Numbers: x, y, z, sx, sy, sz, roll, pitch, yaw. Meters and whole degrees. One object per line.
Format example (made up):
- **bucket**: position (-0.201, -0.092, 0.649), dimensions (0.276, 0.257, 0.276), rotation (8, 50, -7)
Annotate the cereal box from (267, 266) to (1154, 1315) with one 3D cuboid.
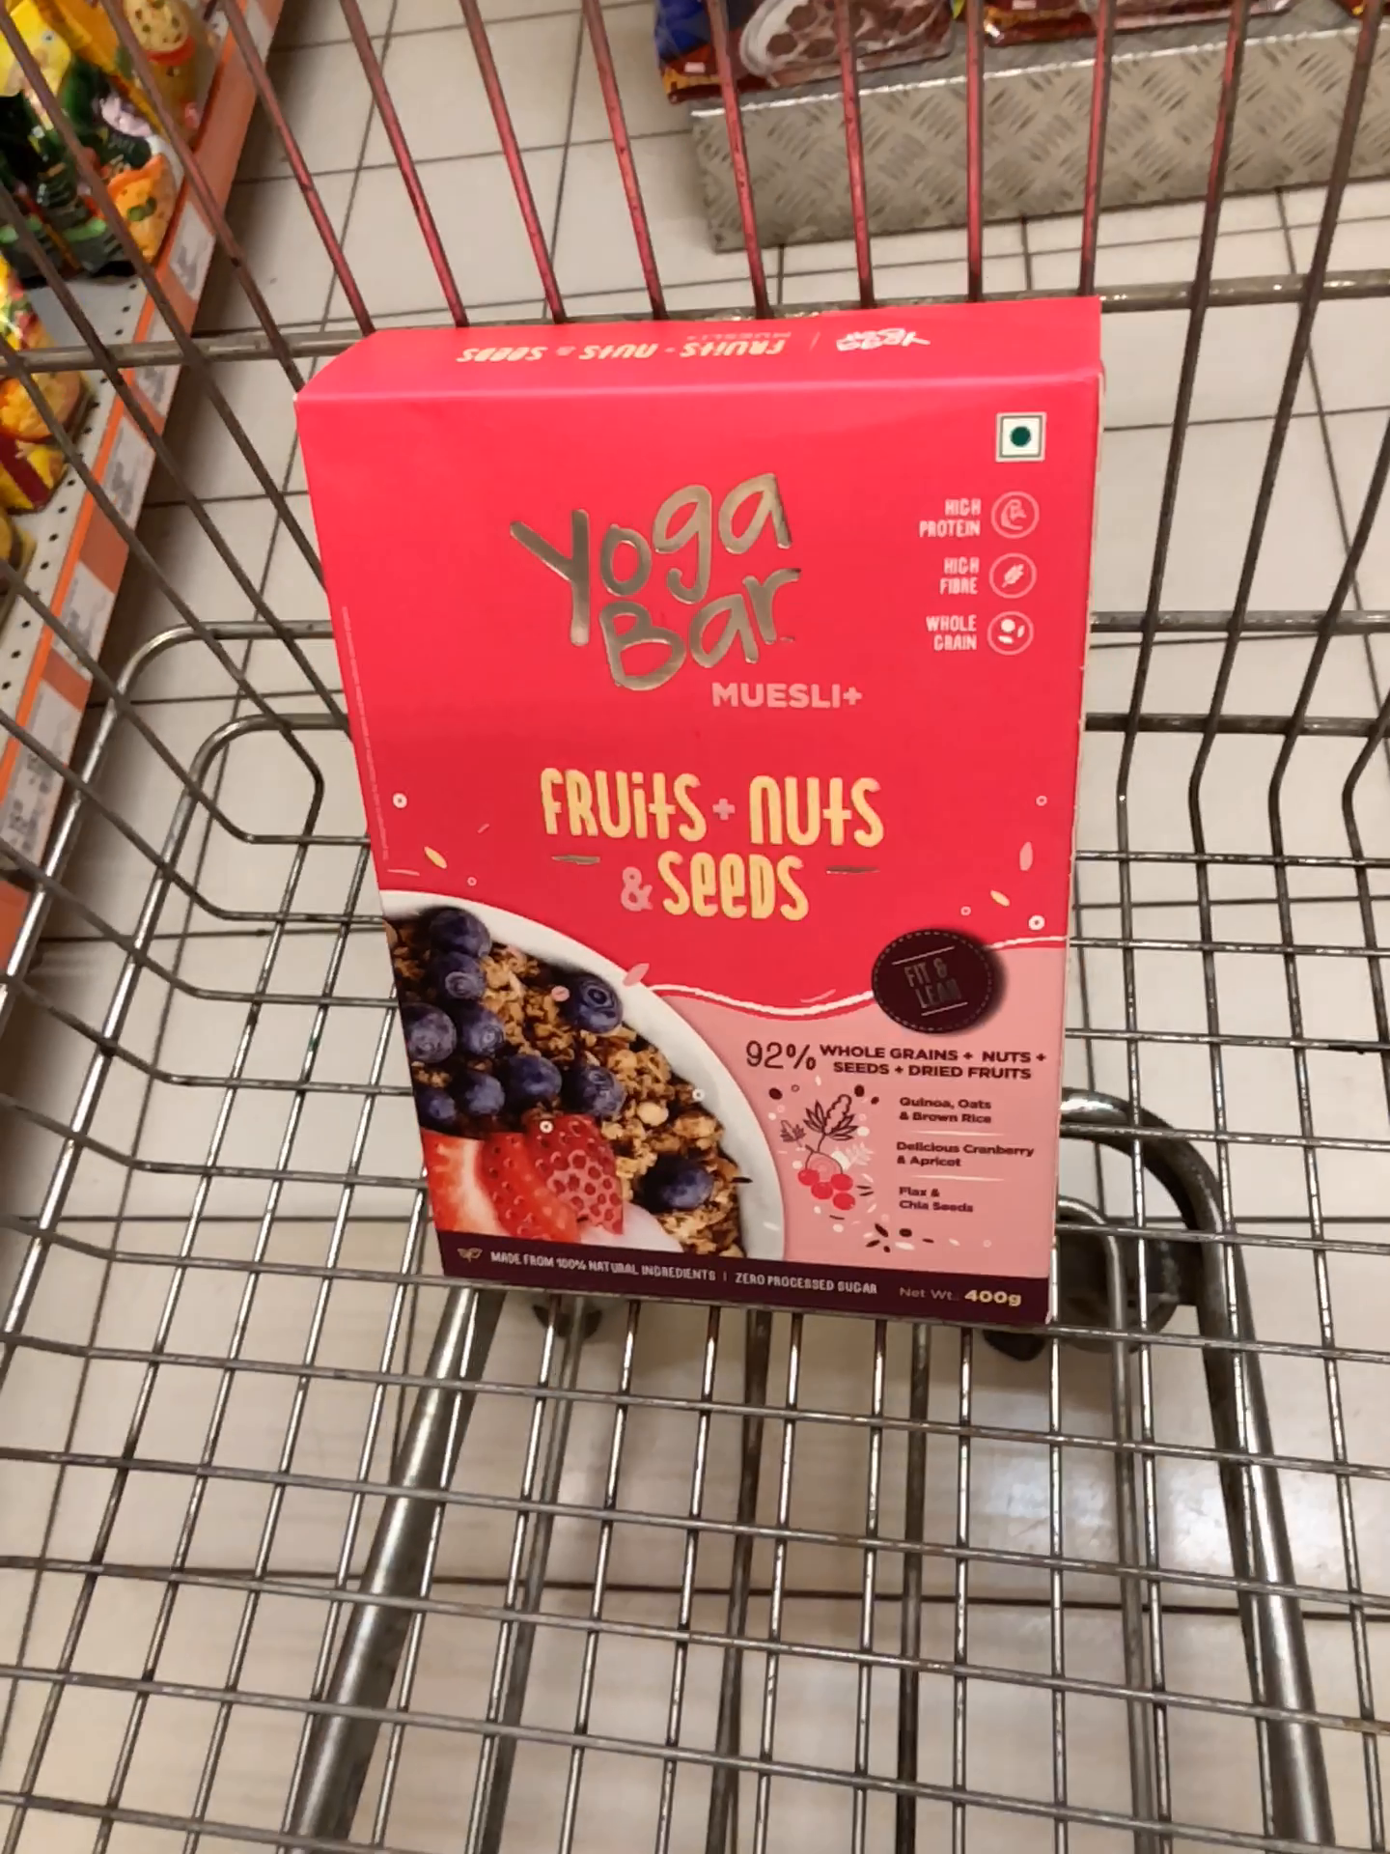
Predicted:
- **cereal box**: position (0.012, -0.023, 0.374), dimensions (0.170, 0.239, 0.060), rotation (2, 31, 12)
